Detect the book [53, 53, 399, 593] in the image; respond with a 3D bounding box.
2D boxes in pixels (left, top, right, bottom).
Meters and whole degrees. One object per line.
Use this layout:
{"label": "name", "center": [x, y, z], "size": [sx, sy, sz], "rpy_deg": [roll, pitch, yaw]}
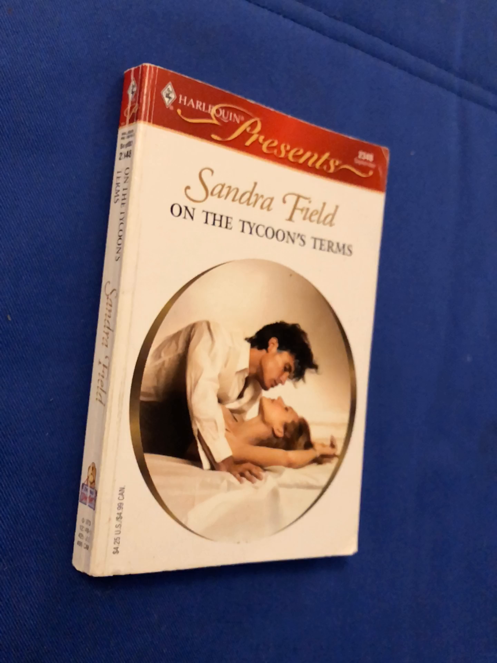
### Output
{"label": "book", "center": [-0.001, 0.002, 0.196], "size": [0.107, 0.020, 0.157], "rpy_deg": [8, 87, -28]}
